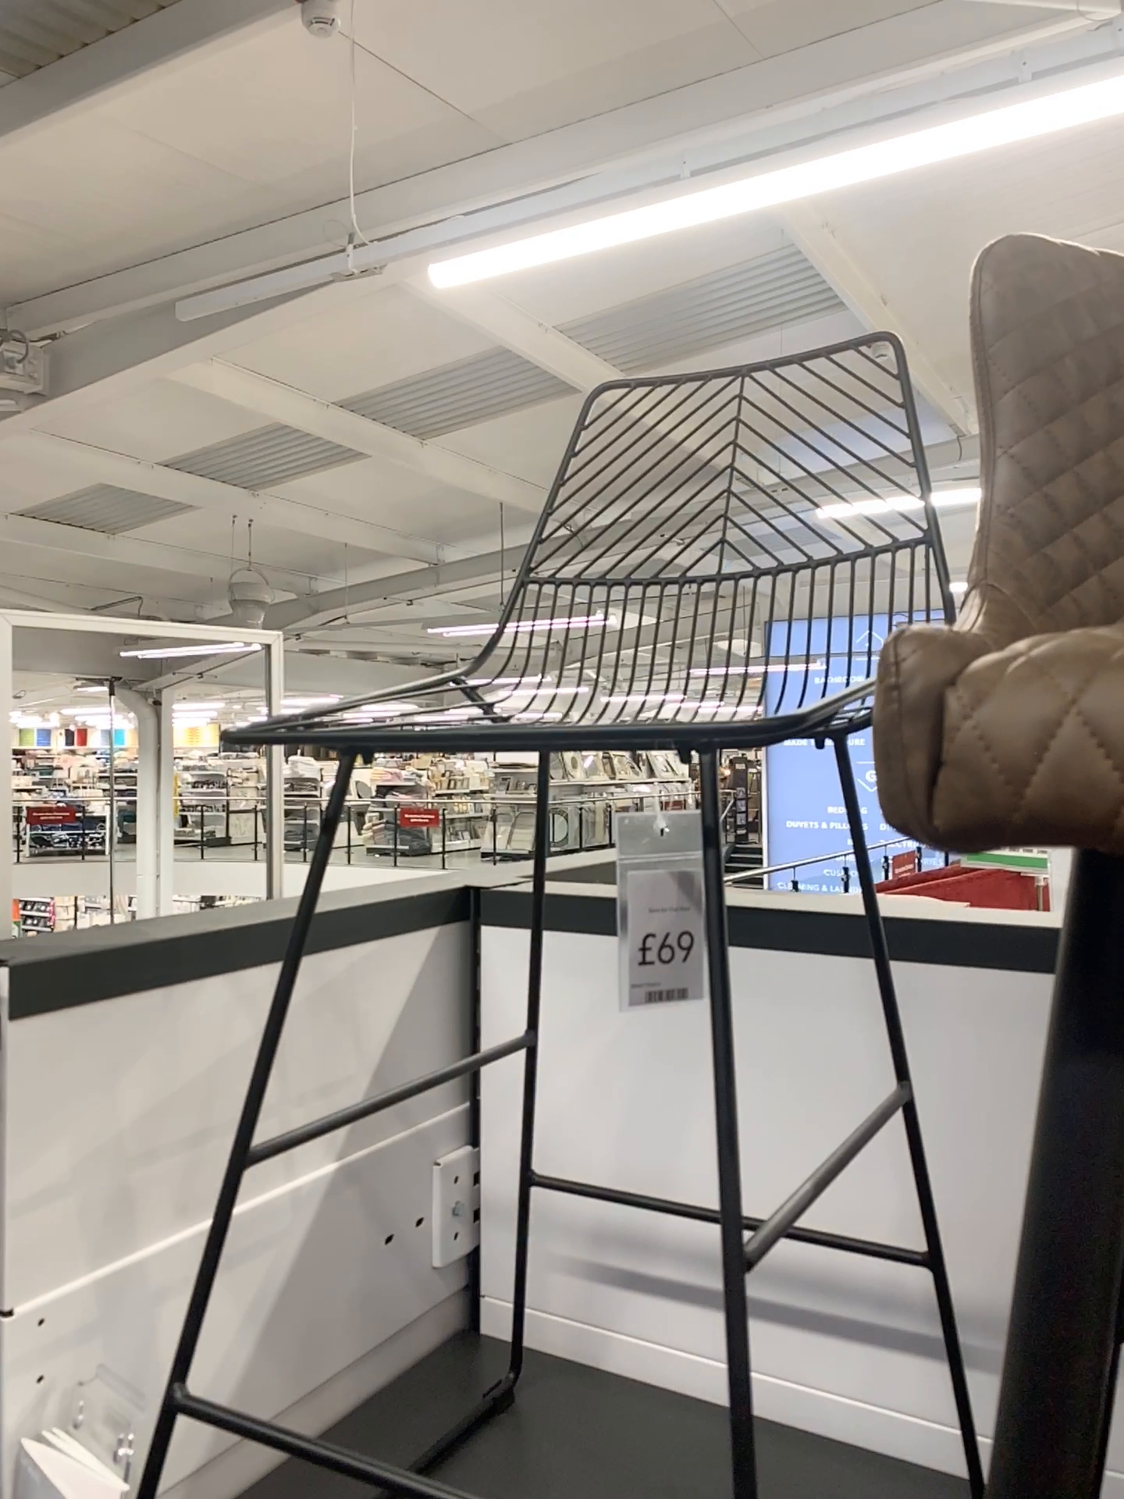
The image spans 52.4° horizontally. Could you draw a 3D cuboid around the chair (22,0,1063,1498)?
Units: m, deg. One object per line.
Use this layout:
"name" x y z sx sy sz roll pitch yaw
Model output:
"chair" 0.034 0.109 0.790 0.504 0.964 0.529 -1 -2 30
